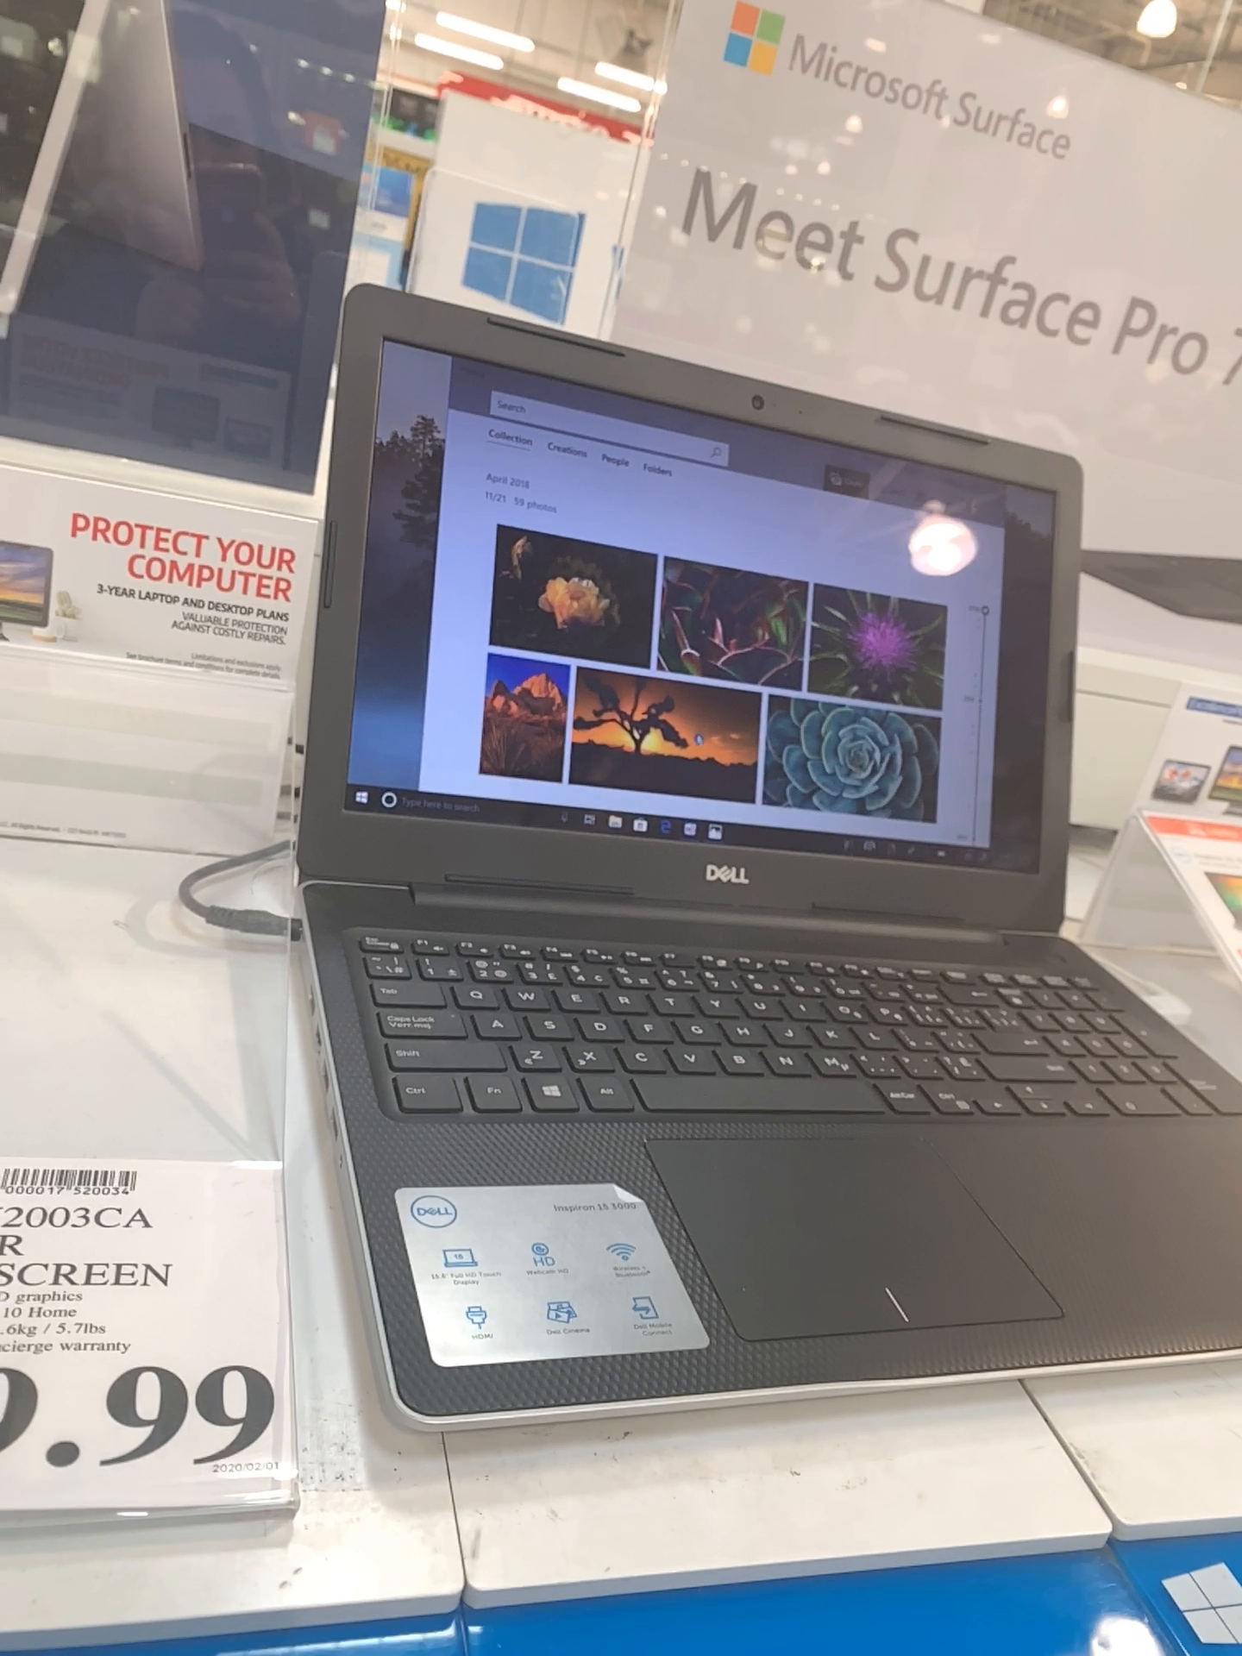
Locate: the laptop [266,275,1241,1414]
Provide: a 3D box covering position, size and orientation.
[{"bbox_3d":[0.088,-0.026,0.447,0.357,0.205,0.343,6,22,-23],"label":"laptop"}]
